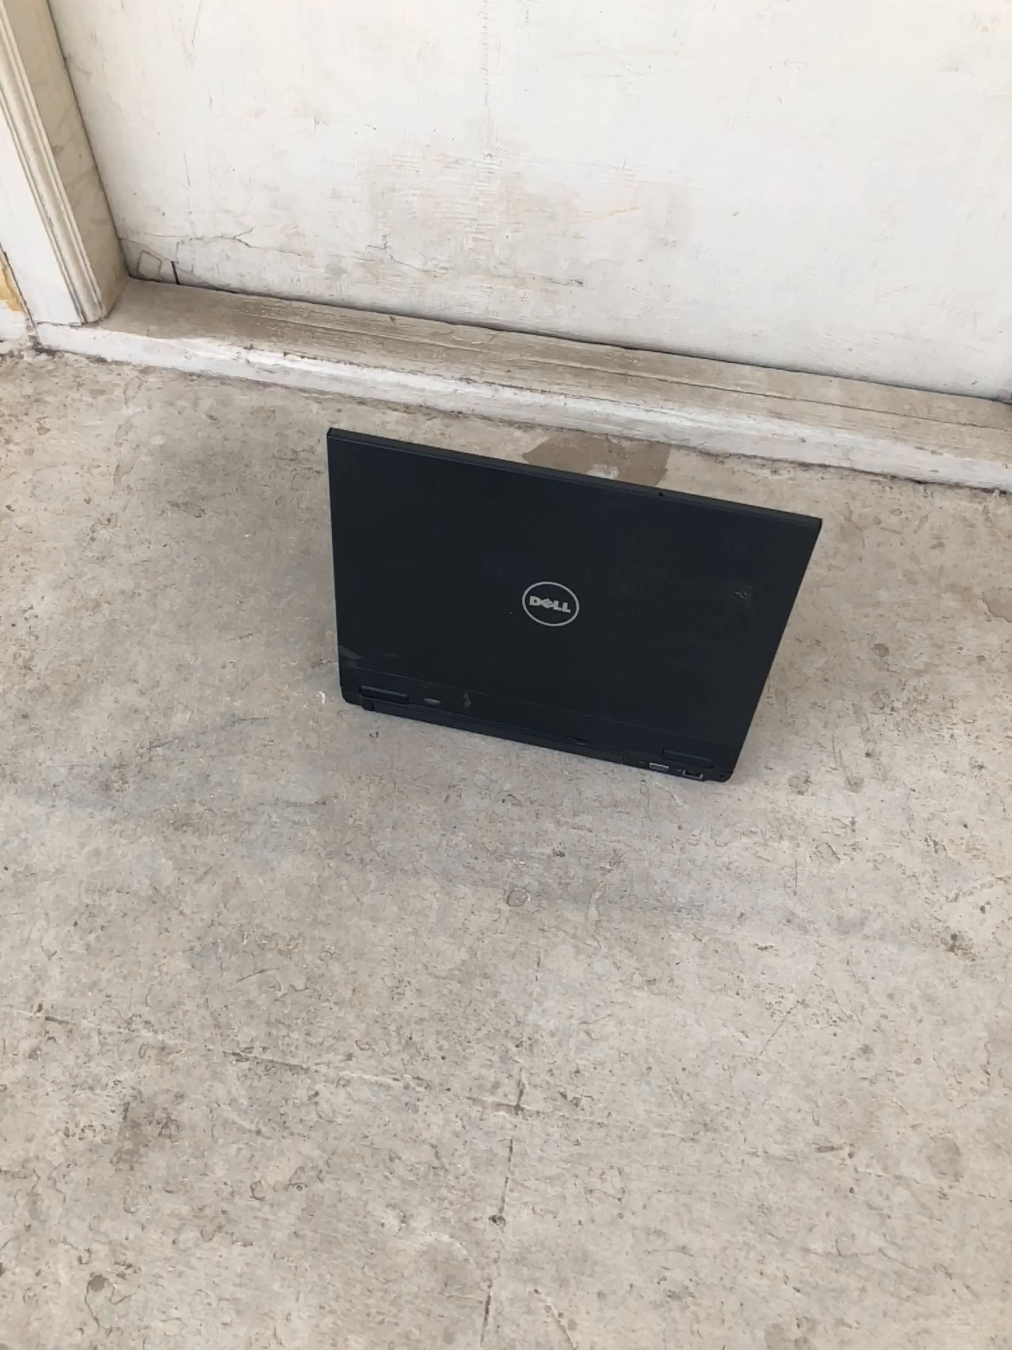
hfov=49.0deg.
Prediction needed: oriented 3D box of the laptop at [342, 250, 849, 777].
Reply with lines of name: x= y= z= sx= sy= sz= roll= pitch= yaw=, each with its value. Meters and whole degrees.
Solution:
laptop: x=0.062 y=-0.110 z=0.811 sx=0.279 sy=0.252 sz=0.225 roll=12 pitch=59 yaw=6
